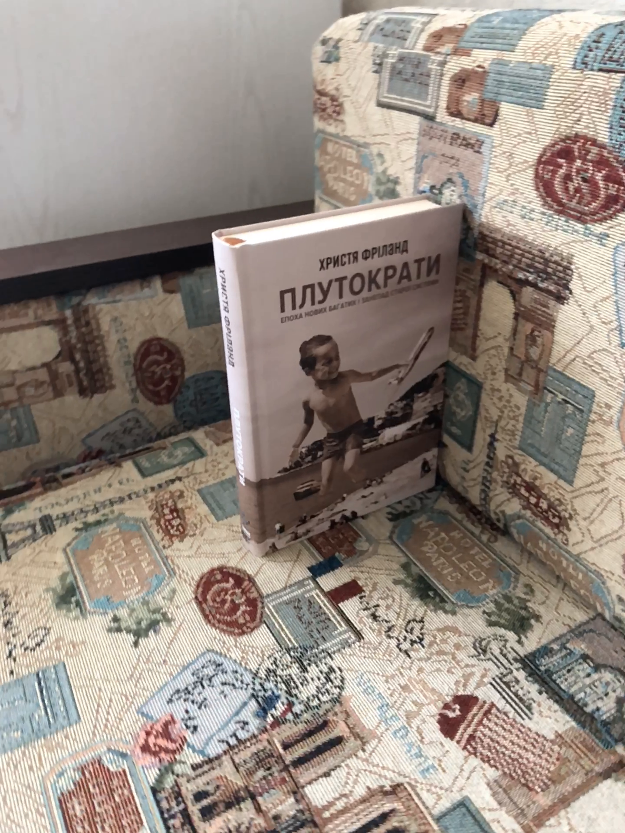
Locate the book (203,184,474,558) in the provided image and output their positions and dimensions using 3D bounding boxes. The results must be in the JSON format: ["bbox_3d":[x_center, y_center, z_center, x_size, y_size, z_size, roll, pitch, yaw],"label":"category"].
[{"bbox_3d":[0.020,-0.026,0.450,0.157,0.215,0.037,-17,36,-24],"label":"book"}]
